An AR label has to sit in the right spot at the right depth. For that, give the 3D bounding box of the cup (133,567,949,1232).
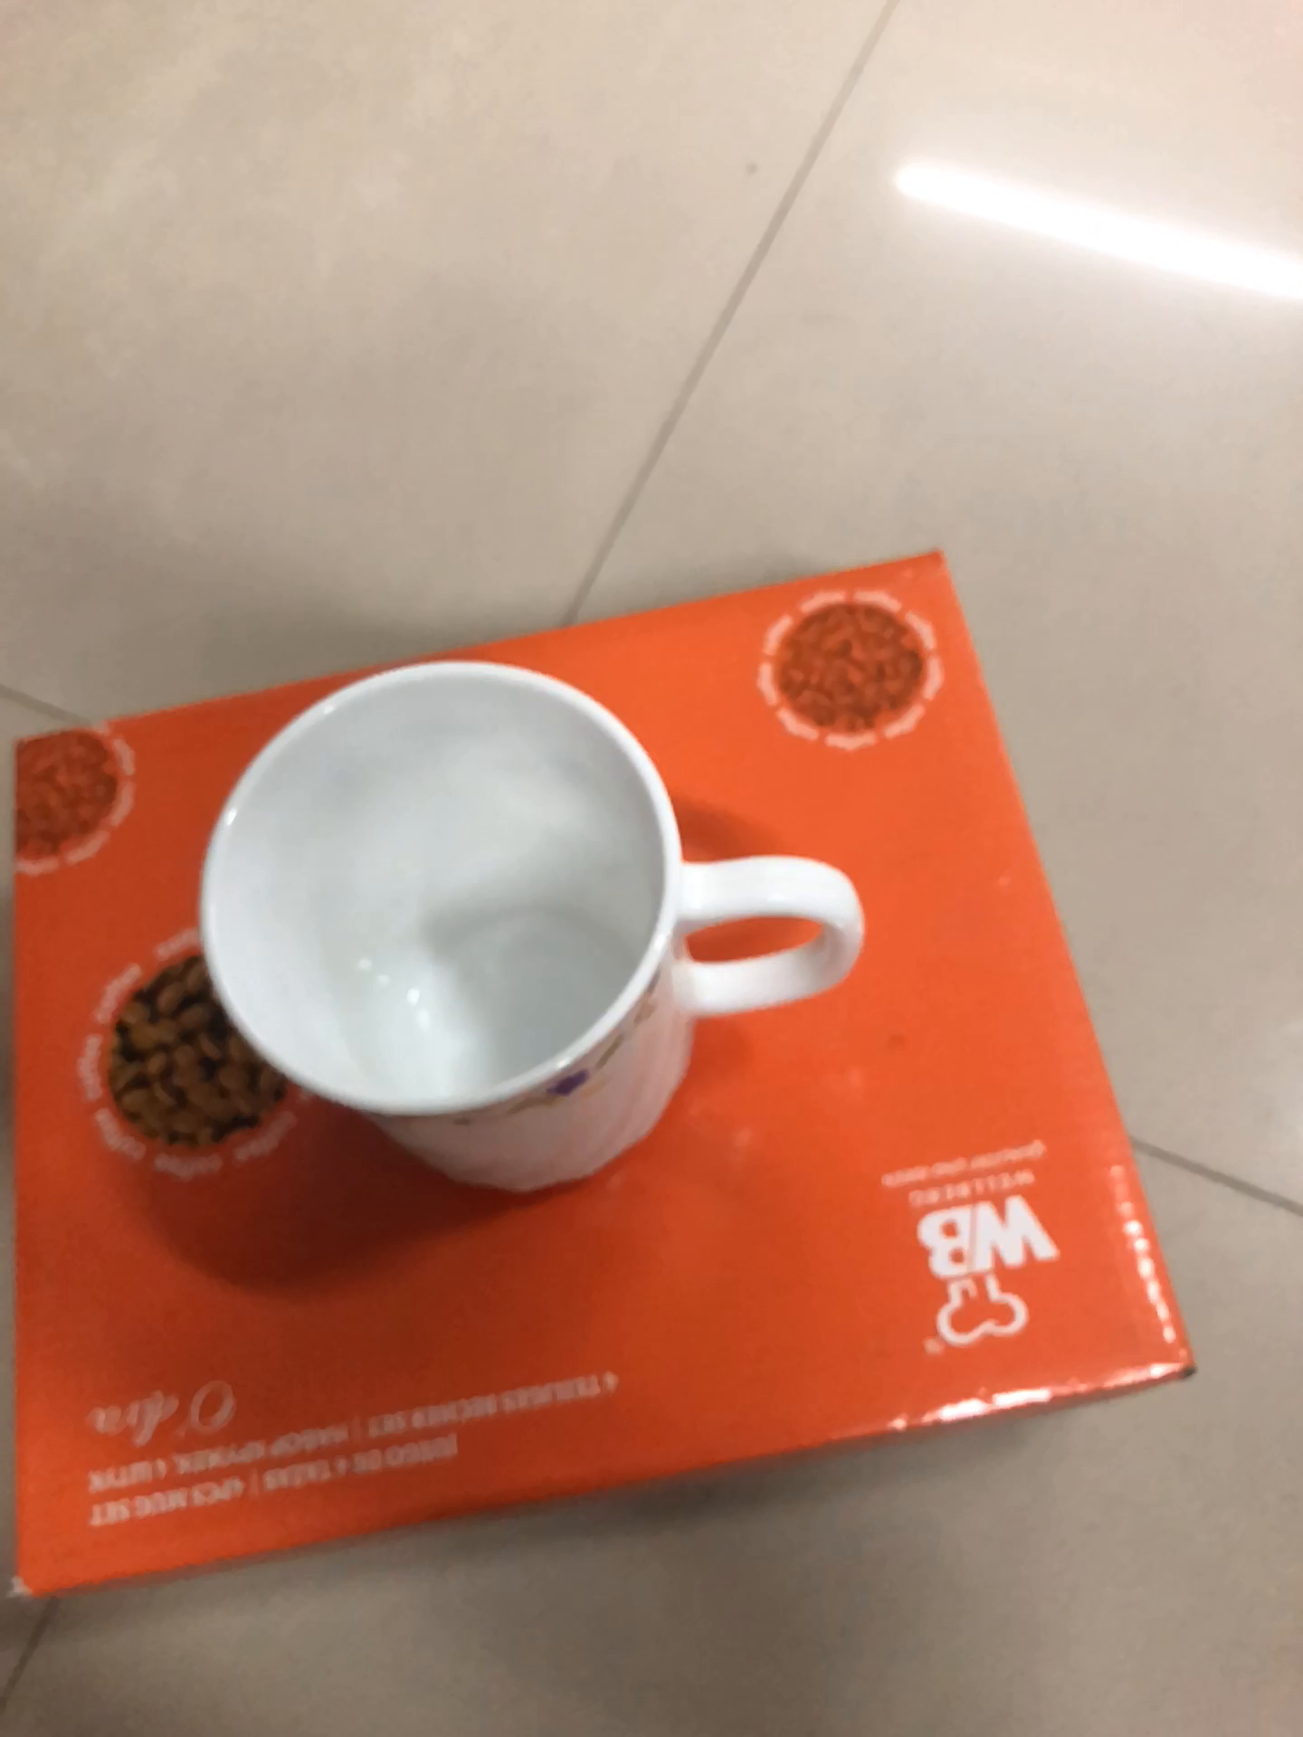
[{"bbox_3d":[-0.014,0.012,0.273,0.120,0.090,0.090,-4,68,5],"label":"cup"}]
